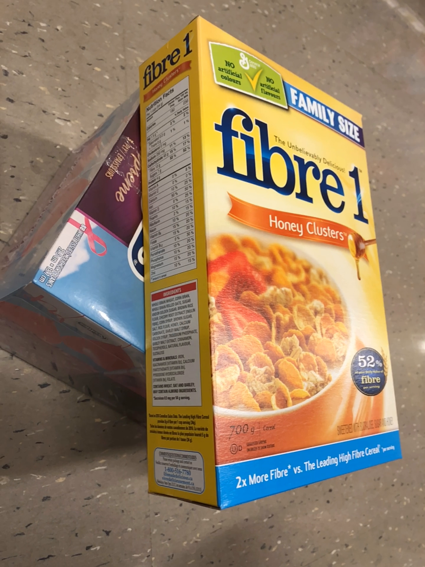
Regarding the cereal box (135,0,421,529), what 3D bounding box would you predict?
[{"bbox_3d":[0.052,-0.014,0.368,0.201,0.080,0.320,8,73,-41],"label":"cereal box"}]
